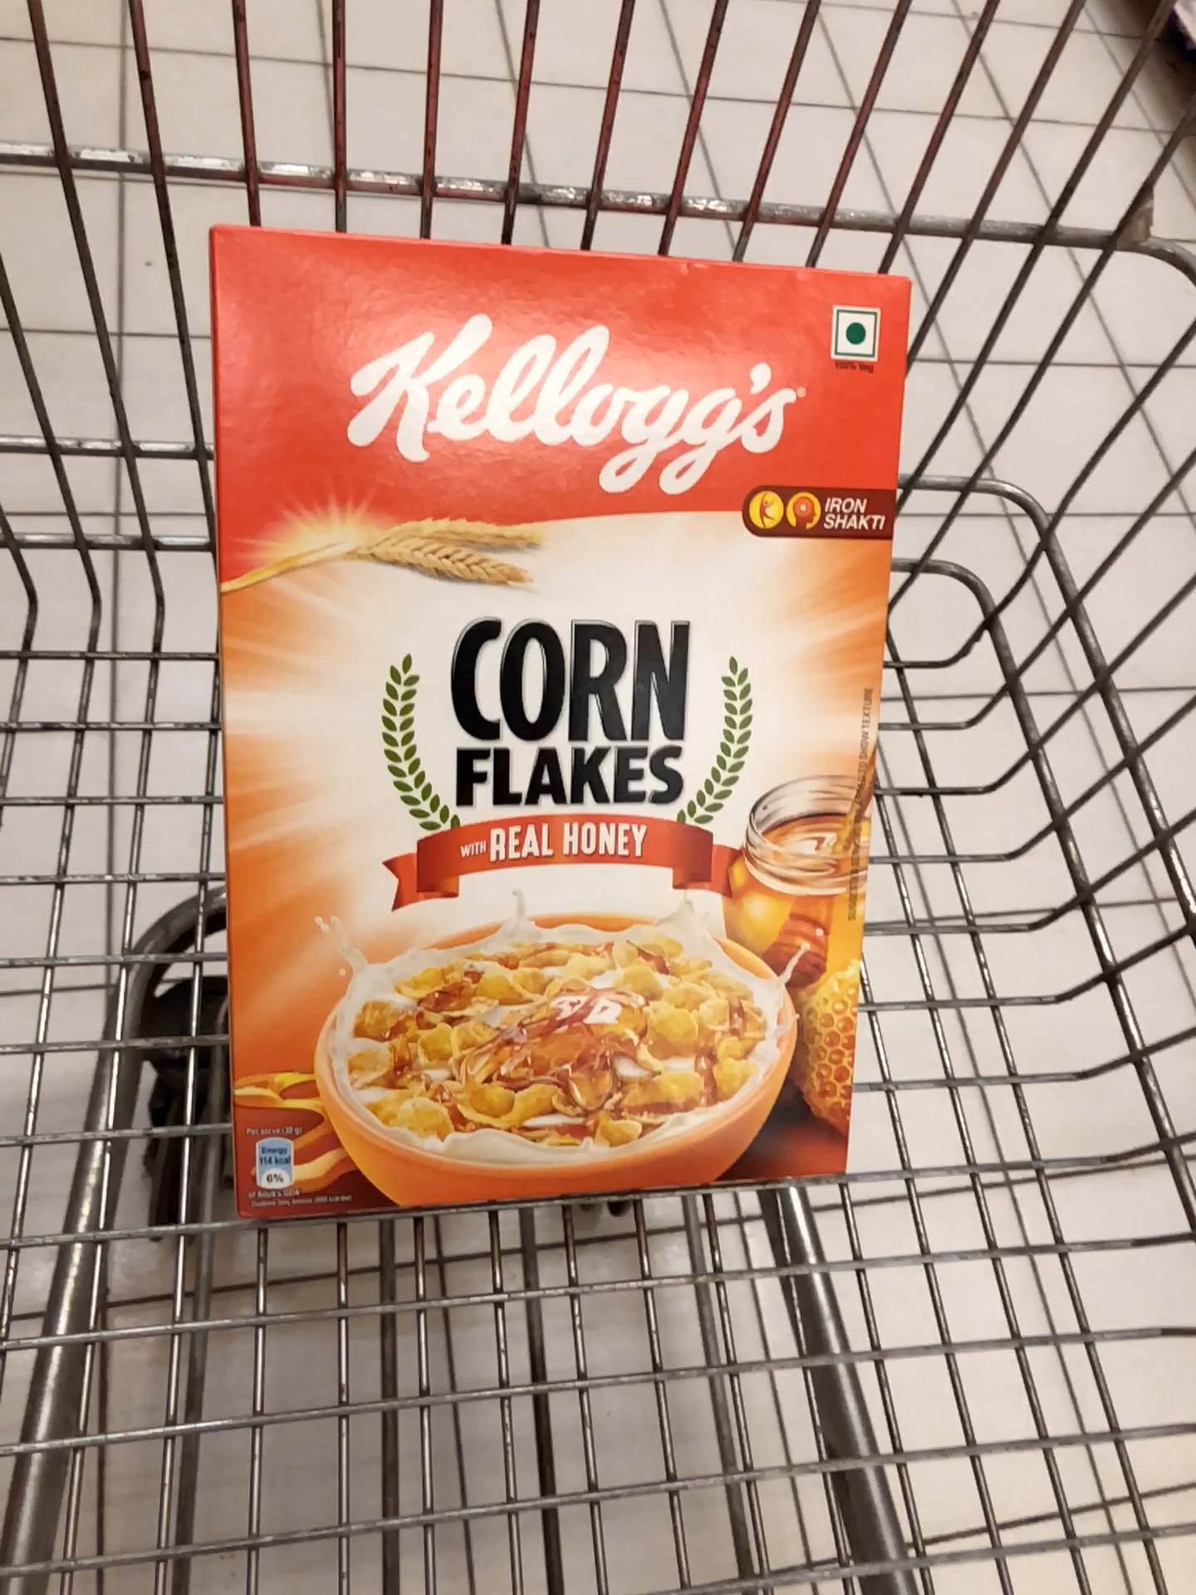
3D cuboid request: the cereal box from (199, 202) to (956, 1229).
[{"bbox_3d":[-0.012,-0.020,0.389,0.190,0.080,0.260,-1,102,-12],"label":"cereal box"}]
